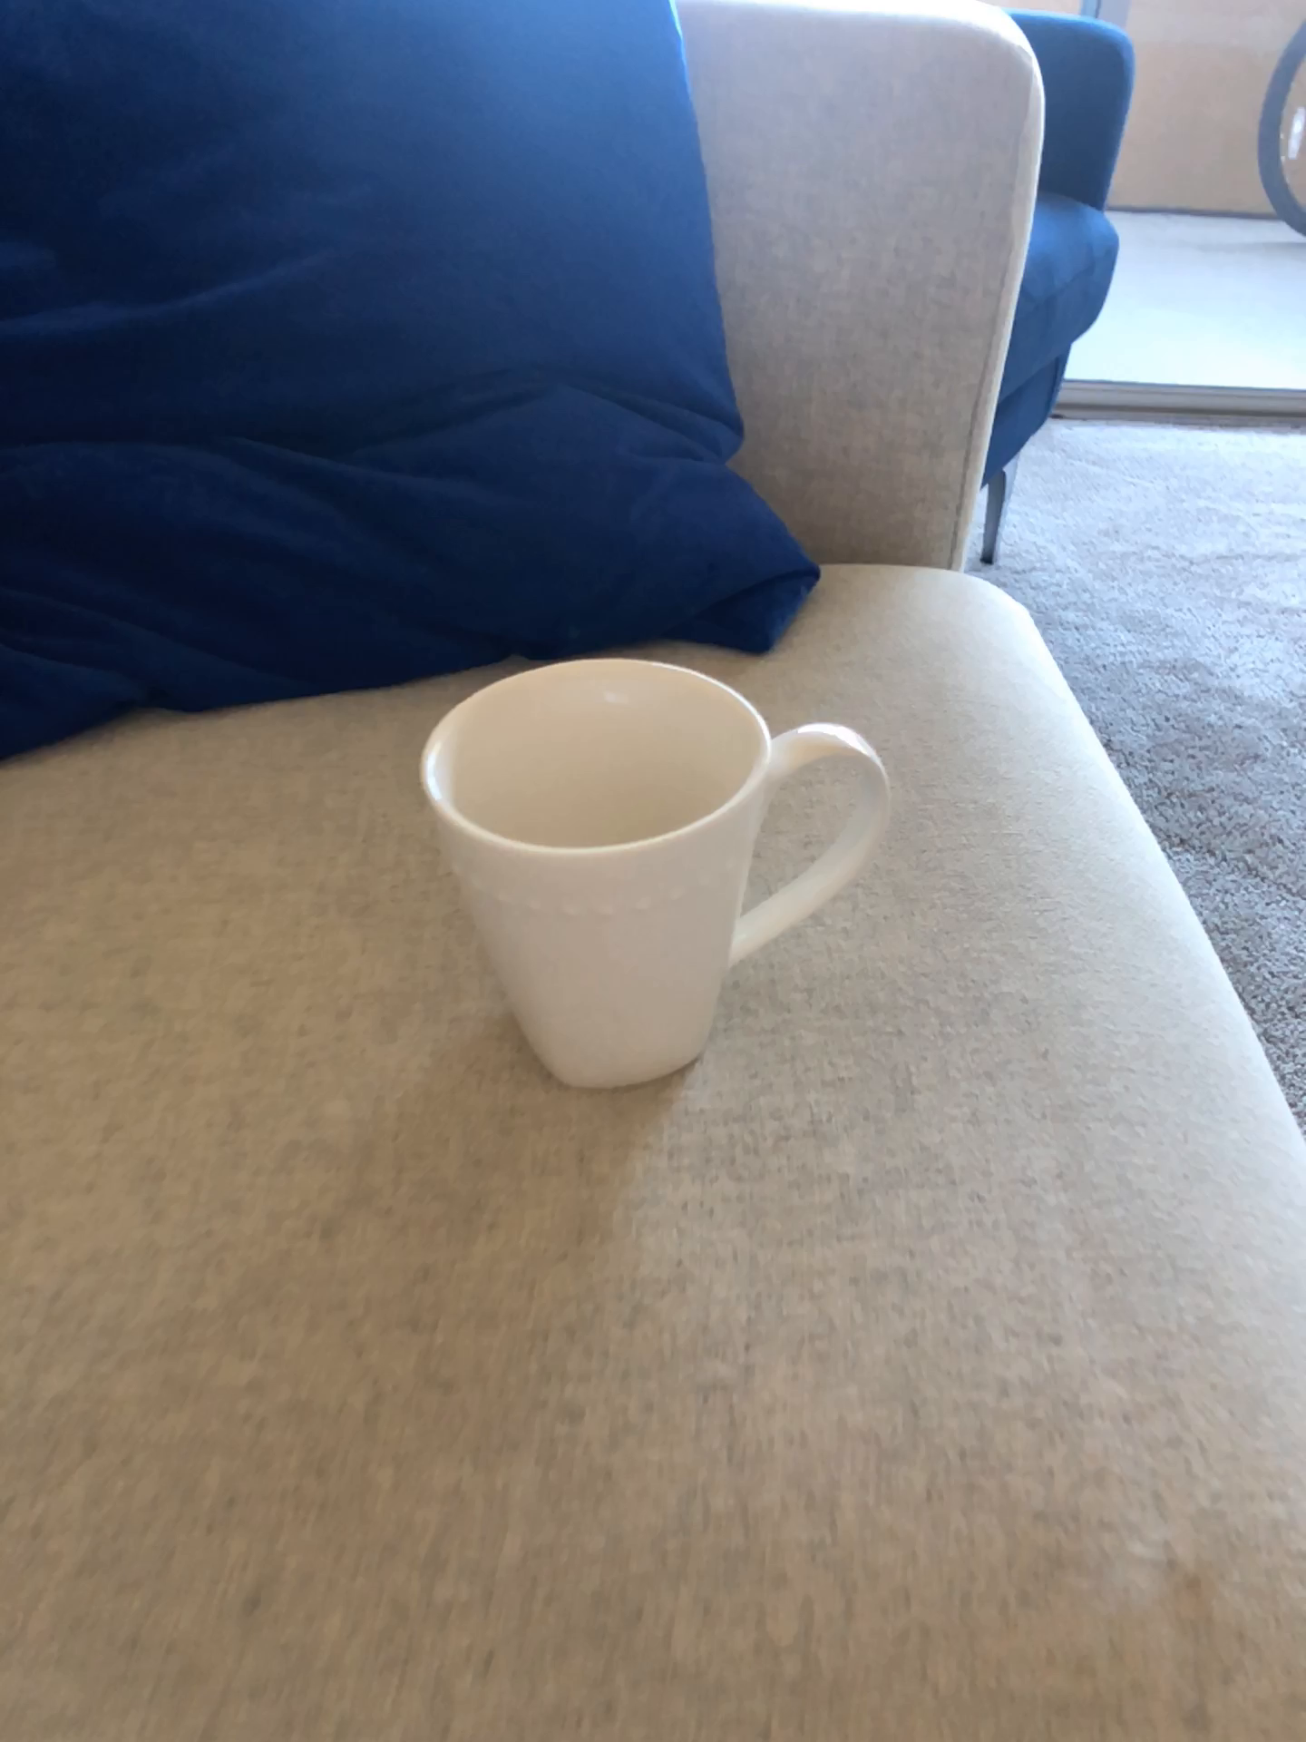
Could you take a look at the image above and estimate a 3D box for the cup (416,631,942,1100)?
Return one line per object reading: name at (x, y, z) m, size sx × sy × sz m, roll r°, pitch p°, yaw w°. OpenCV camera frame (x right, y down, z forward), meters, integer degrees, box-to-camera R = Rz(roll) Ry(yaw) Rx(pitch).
cup at (-0.001, -0.005, 0.419) m, size 0.130 × 0.090 × 0.100 m, roll -2°, pitch 36°, yaw -8°
